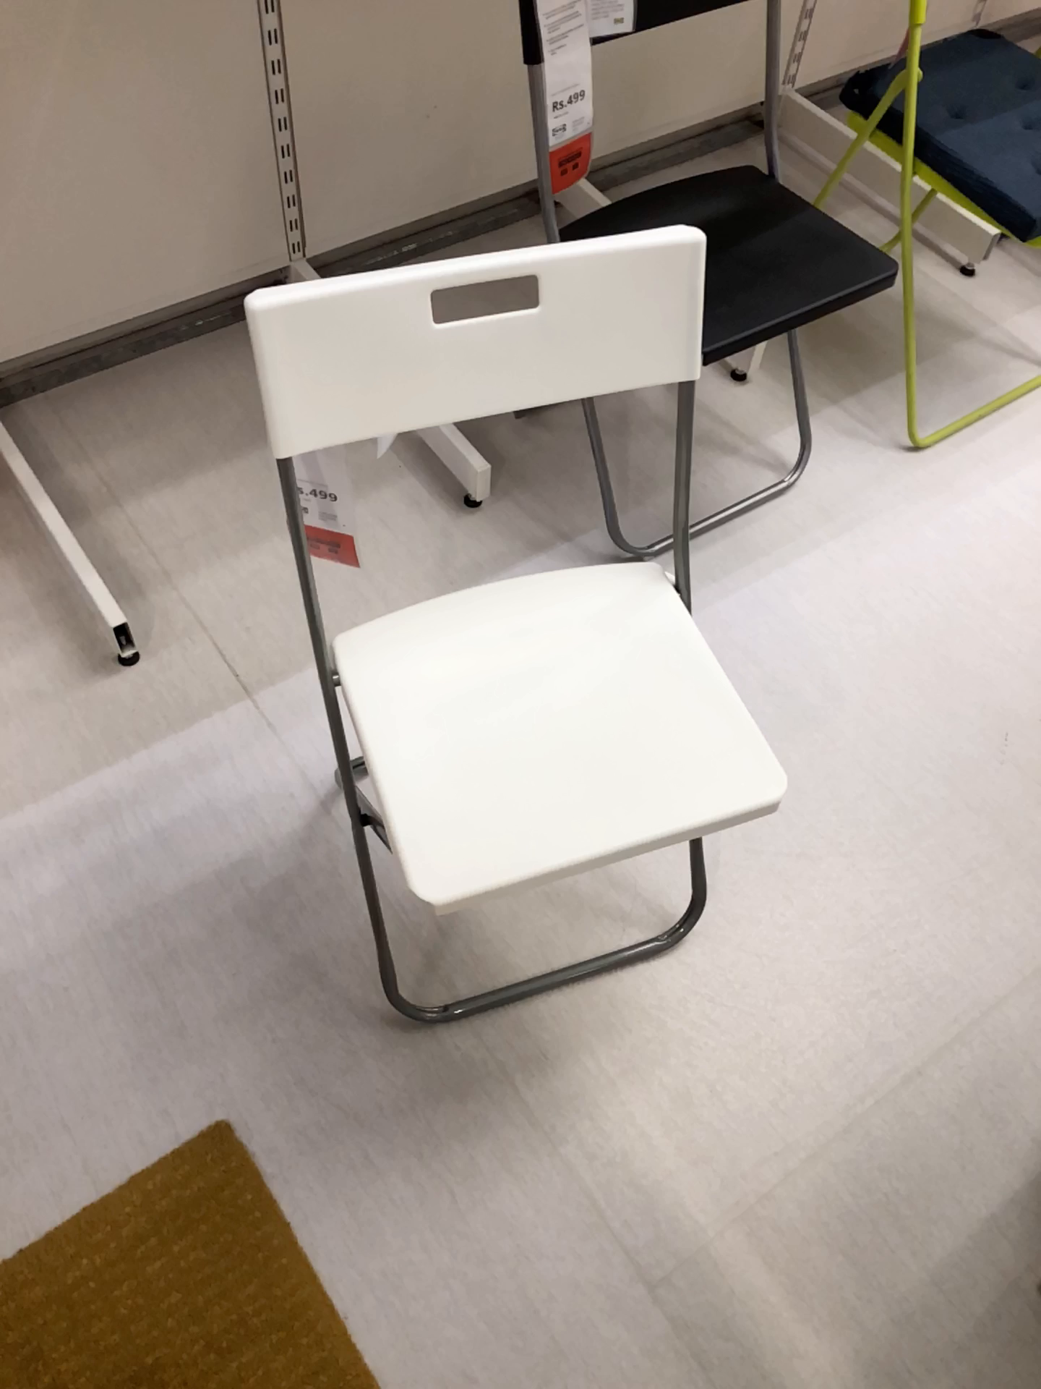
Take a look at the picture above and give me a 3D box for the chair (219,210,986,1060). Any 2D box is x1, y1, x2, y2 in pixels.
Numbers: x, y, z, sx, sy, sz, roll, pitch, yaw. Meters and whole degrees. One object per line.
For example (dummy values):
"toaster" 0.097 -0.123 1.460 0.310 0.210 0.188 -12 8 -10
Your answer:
"chair" 0.018 -0.006 1.135 0.450 0.726 0.402 -14 58 -14
